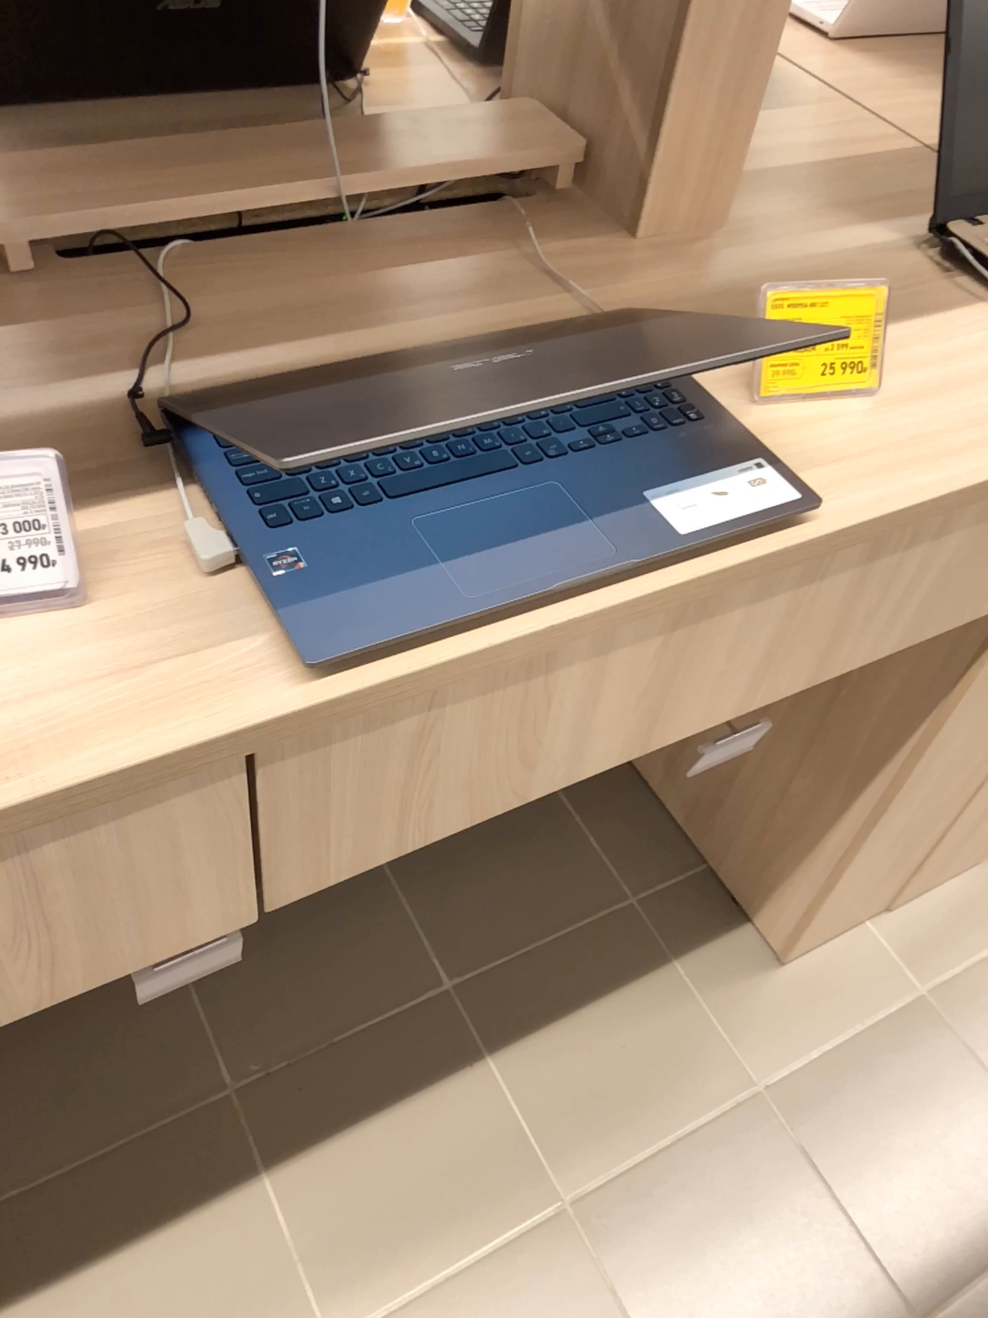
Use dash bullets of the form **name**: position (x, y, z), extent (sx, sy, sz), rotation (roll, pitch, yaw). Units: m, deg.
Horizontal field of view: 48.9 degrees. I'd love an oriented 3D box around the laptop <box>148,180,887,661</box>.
- **laptop**: position (0.008, -0.164, 0.653), extent (0.349, 0.111, 0.233), rotation (-18, 52, -24)
